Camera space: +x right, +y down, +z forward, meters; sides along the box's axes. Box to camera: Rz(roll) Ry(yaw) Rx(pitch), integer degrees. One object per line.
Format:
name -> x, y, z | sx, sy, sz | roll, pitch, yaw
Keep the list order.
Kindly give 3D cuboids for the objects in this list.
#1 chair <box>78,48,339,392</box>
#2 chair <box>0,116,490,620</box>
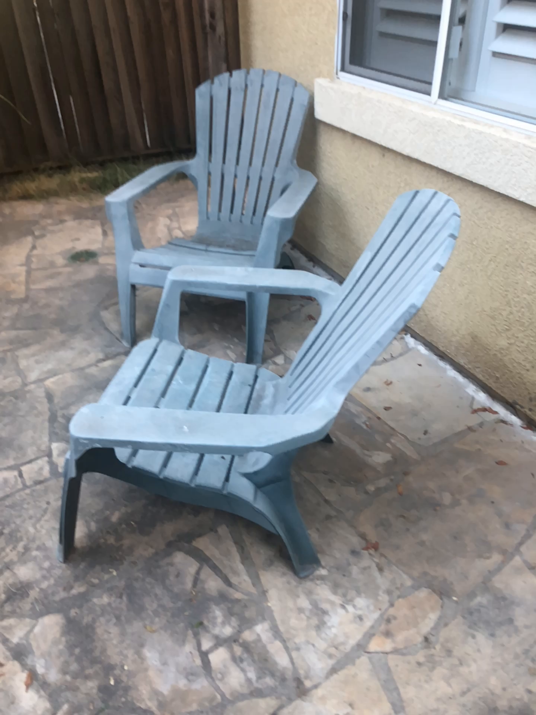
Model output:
chair -> -0.196, -0.665, 2.623 | 0.740, 1.221, 0.917 | 10, 28, 14
chair -> -0.101, -0.005, 1.443 | 0.920, 0.882, 0.696 | 7, 35, 5
